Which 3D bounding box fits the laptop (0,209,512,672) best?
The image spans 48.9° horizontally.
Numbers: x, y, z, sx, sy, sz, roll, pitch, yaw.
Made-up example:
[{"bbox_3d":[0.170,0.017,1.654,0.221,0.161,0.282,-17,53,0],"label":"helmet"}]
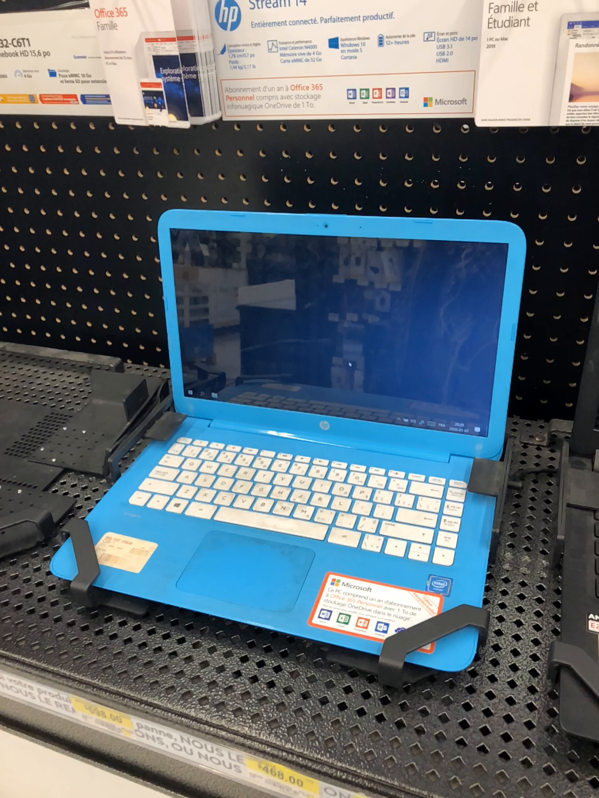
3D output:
[{"bbox_3d":[-0.013,-0.004,0.528,0.319,0.197,0.270,7,36,19],"label":"laptop"}]
